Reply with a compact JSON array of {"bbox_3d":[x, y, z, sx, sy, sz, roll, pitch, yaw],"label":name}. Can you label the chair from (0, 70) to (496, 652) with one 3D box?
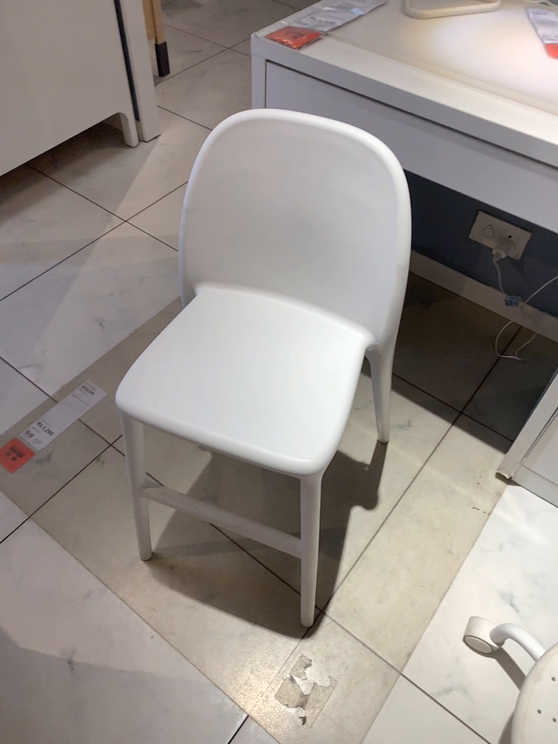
[{"bbox_3d":[-0.029,0.028,0.928,0.450,0.728,0.491,19,53,13],"label":"chair"}]
